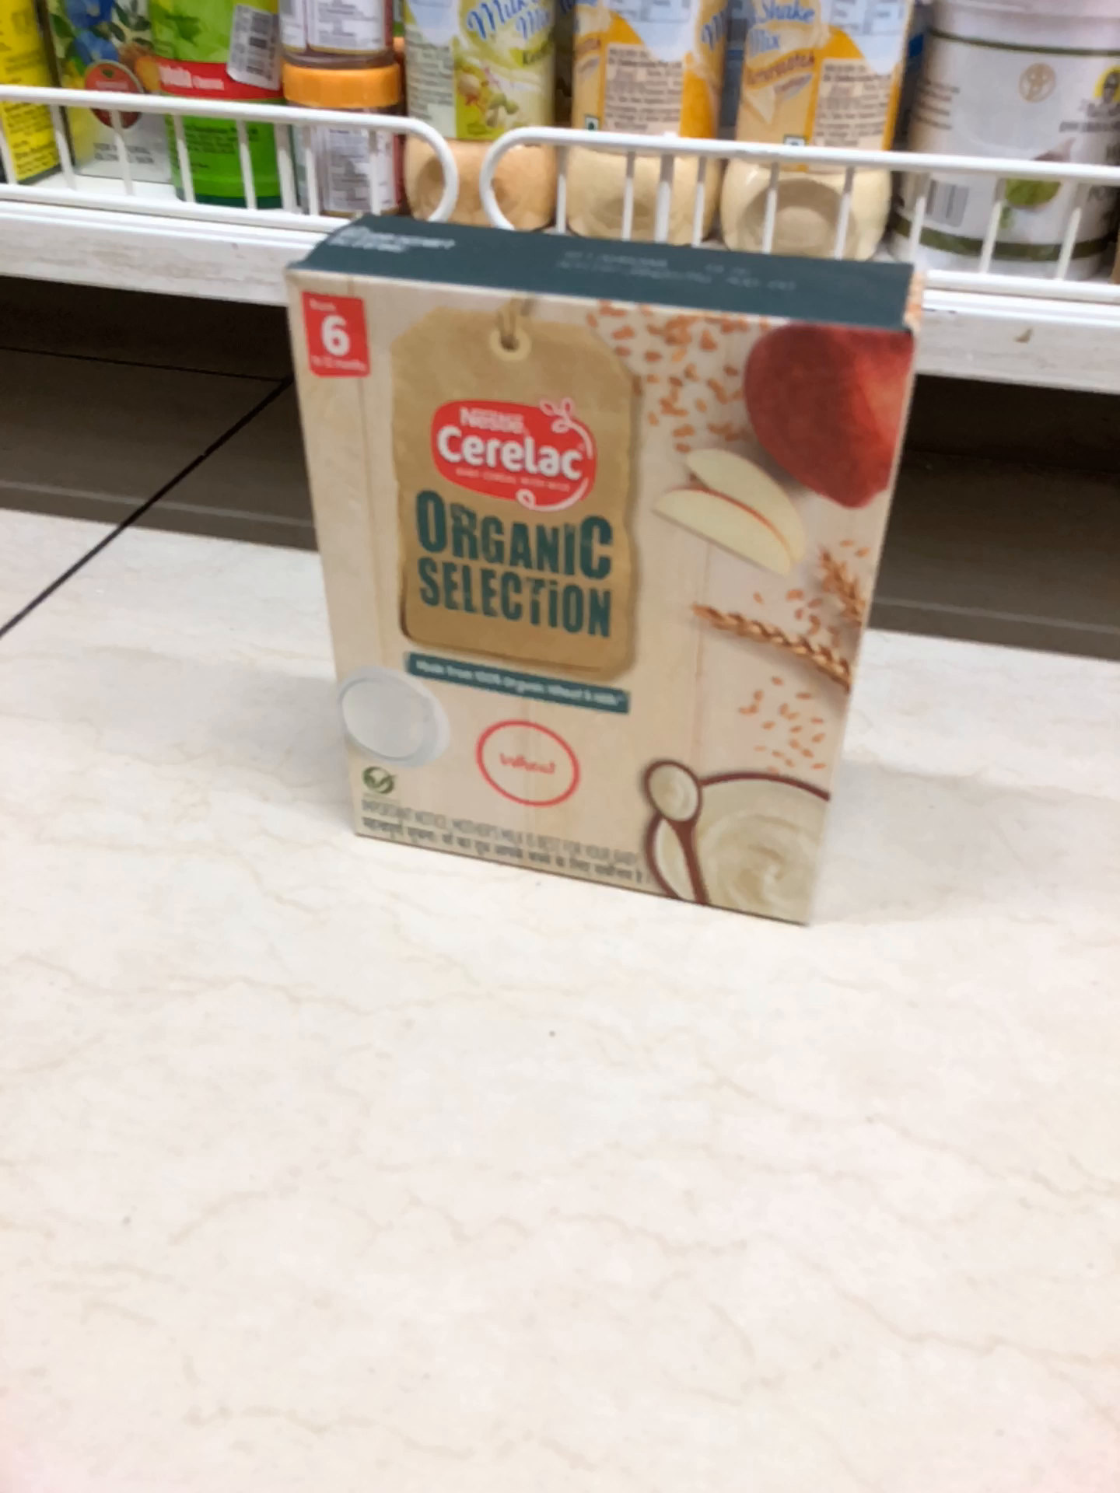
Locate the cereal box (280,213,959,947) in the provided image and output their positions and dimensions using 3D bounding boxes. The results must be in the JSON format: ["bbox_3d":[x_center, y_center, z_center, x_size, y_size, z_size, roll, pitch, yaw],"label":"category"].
[{"bbox_3d":[0.014,-0.042,0.358,0.160,0.189,0.050,10,37,11],"label":"cereal box"}]
